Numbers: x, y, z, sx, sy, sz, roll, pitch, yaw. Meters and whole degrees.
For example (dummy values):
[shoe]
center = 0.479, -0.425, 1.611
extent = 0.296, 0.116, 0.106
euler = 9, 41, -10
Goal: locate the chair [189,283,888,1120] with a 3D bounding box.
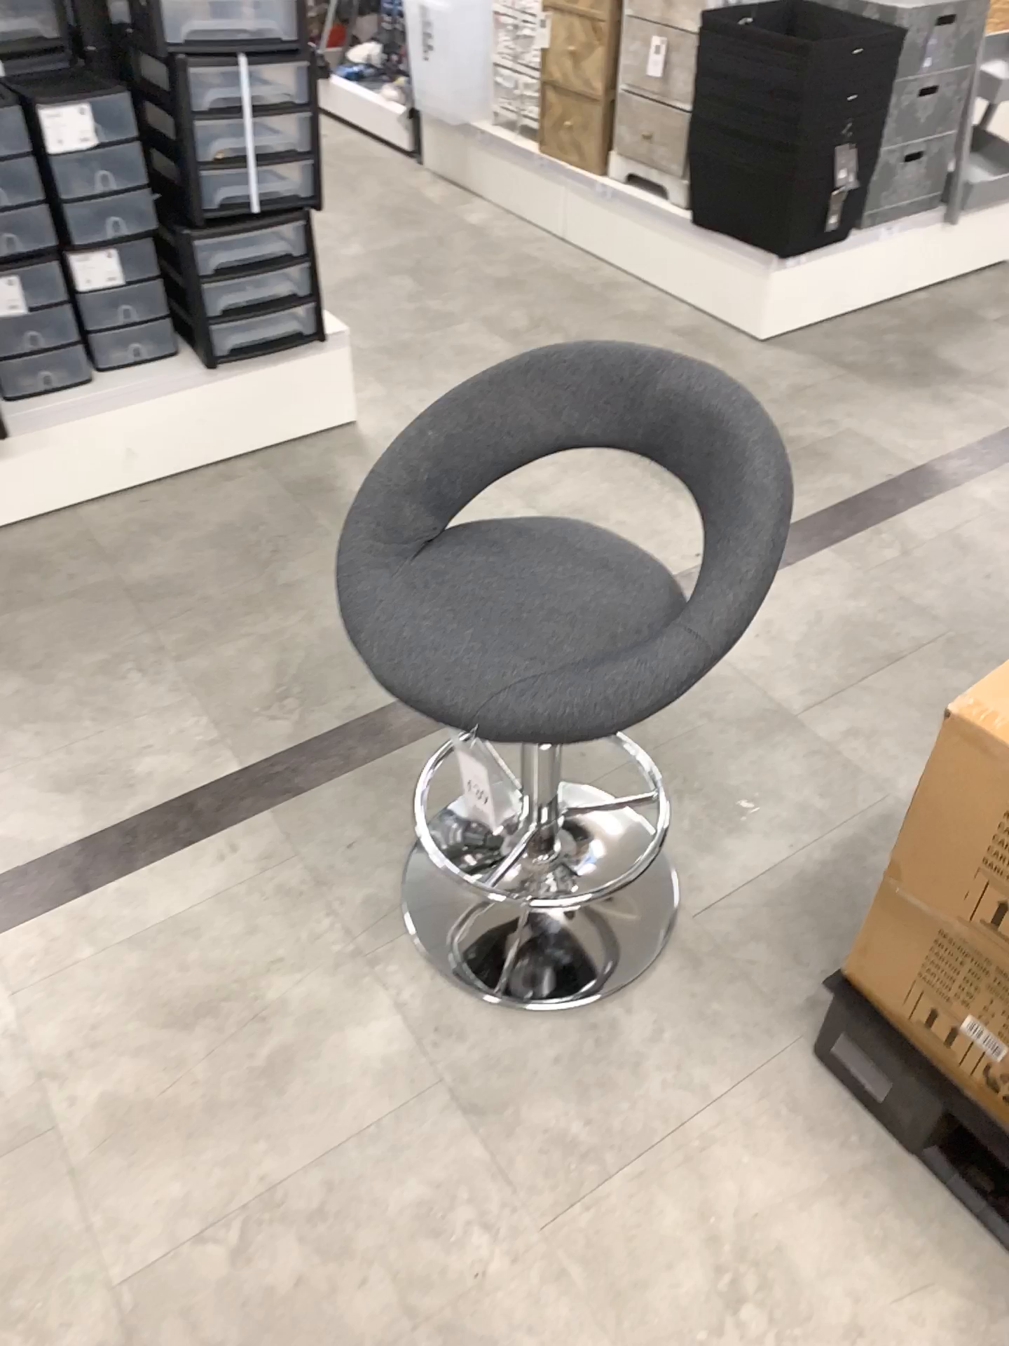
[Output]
[chair]
center = 0.019, 0.032, 1.332
extent = 0.487, 0.787, 0.549
euler = -29, 49, -29
